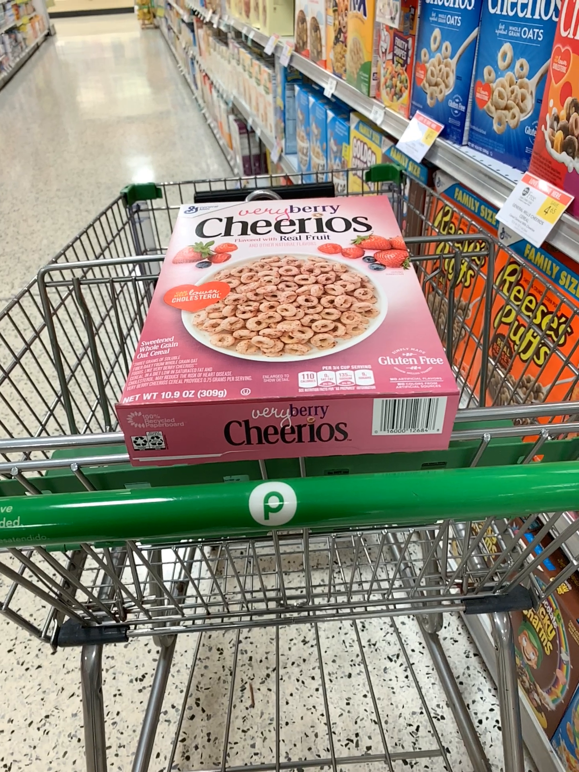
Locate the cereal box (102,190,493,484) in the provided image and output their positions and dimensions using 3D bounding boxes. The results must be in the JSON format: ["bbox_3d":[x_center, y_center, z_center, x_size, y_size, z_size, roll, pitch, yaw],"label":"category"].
[{"bbox_3d":[0.003,-0.059,0.448,0.210,0.059,0.283,-3,39,1],"label":"cereal box"}]
